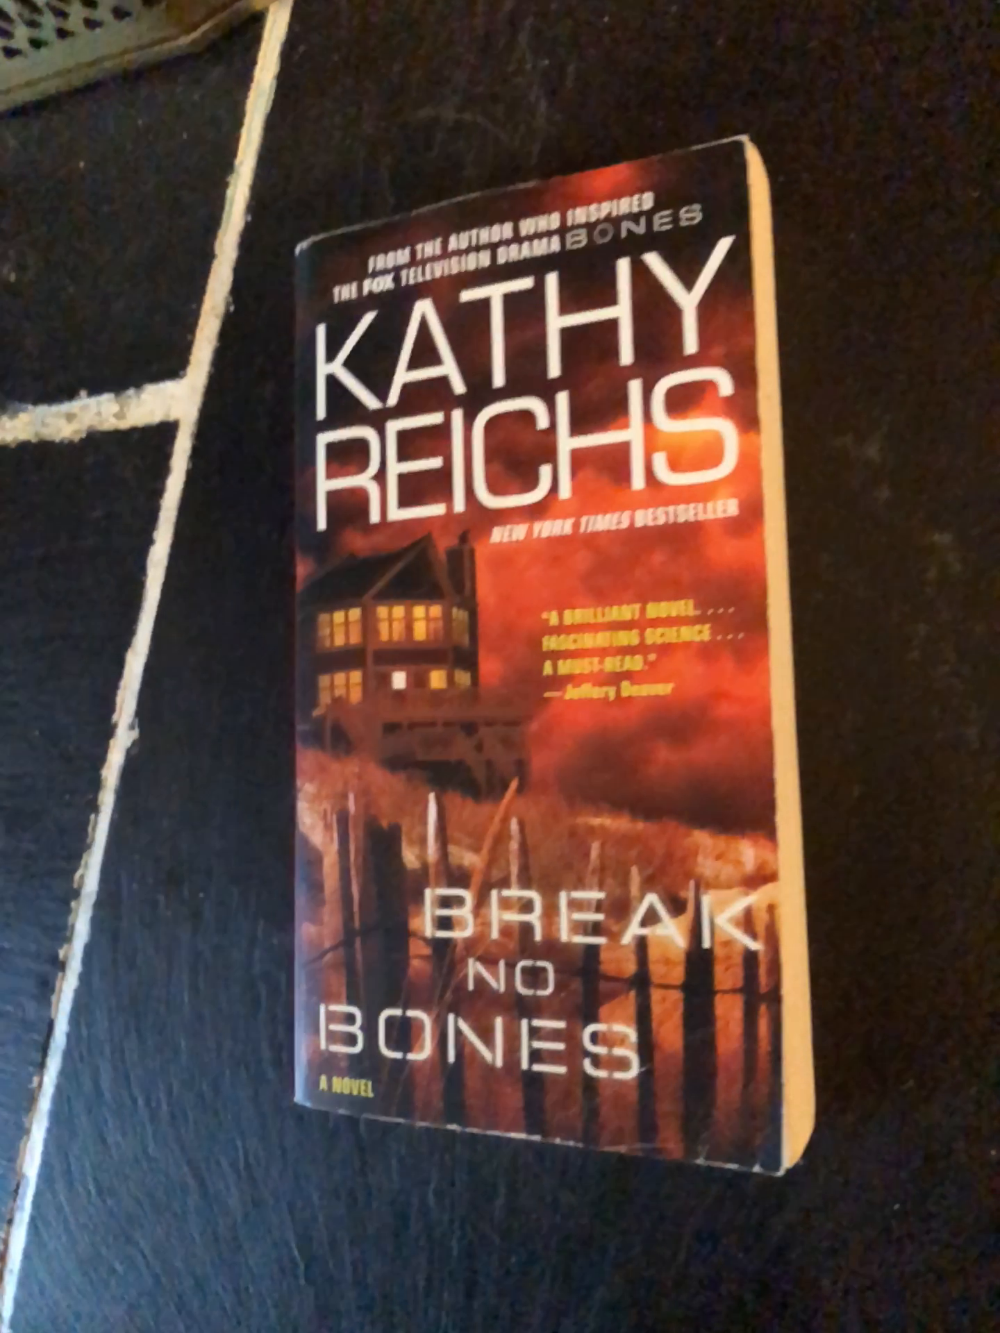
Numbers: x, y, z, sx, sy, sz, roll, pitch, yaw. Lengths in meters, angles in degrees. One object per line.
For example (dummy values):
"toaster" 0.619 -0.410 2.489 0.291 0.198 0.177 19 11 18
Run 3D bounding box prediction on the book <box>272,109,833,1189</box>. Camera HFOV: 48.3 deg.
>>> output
"book" 0.007 -0.003 0.230 0.108 0.030 0.189 -3 85 24
